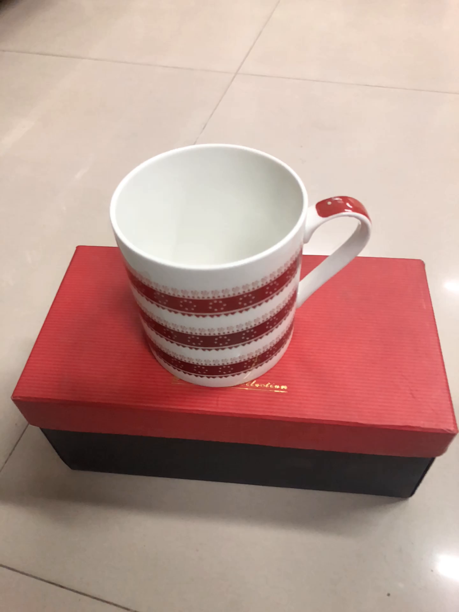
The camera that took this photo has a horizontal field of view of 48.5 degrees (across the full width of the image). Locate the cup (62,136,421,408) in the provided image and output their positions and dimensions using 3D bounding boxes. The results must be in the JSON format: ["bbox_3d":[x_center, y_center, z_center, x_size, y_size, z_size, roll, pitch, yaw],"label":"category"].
[{"bbox_3d":[0.005,-0.013,0.249,0.130,0.099,0.080,-2,49,1],"label":"cup"}]
